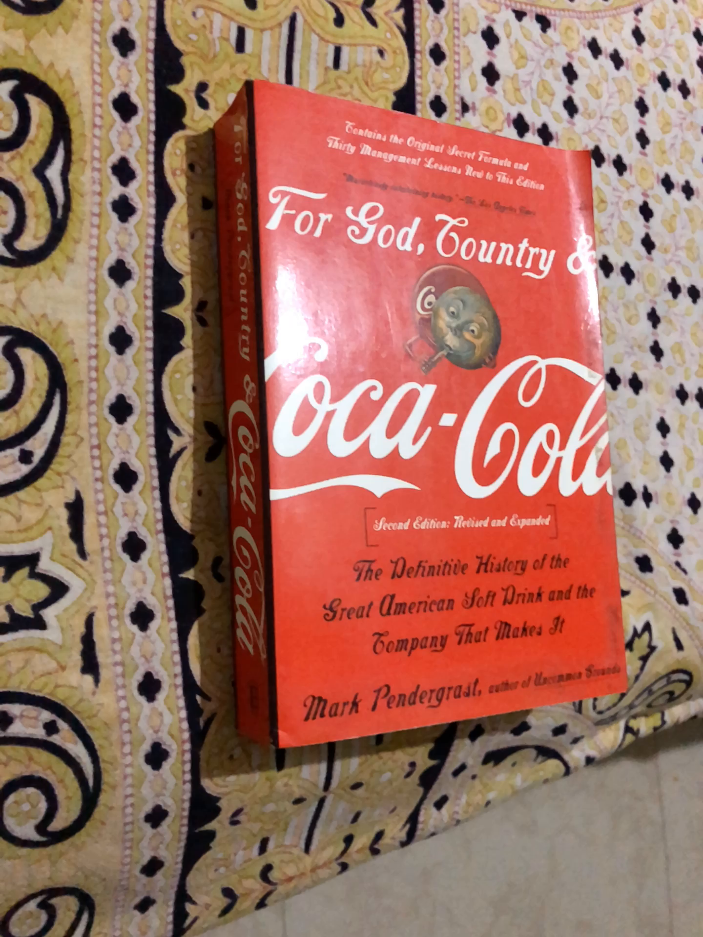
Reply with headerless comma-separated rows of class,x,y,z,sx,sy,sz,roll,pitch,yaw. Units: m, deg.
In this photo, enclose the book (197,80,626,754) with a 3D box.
book,0.025,-0.019,0.322,0.161,0.050,0.230,0,84,-26
